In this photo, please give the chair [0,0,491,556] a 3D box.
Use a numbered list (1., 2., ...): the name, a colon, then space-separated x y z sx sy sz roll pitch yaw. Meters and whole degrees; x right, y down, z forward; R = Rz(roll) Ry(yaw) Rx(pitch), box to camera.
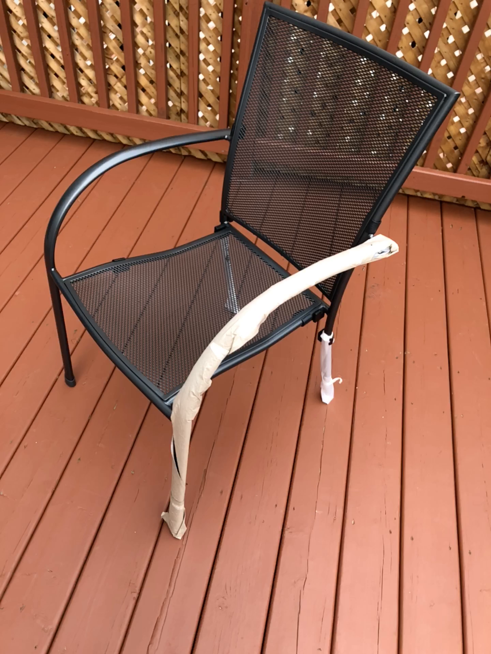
1. chair: -0.085 -0.120 1.170 0.651 0.927 0.601 -29 56 -28
